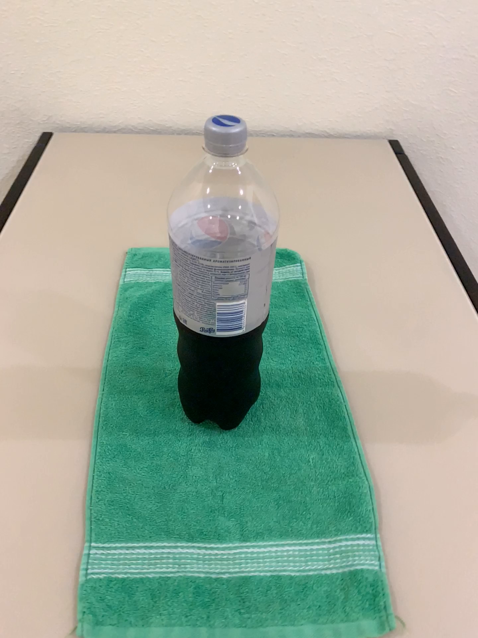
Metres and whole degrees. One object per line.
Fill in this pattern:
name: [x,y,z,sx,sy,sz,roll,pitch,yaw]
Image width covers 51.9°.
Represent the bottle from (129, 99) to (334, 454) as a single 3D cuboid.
bottle: [-0.011,-0.018,0.443,0.100,0.298,0.100,2,45,-2]
